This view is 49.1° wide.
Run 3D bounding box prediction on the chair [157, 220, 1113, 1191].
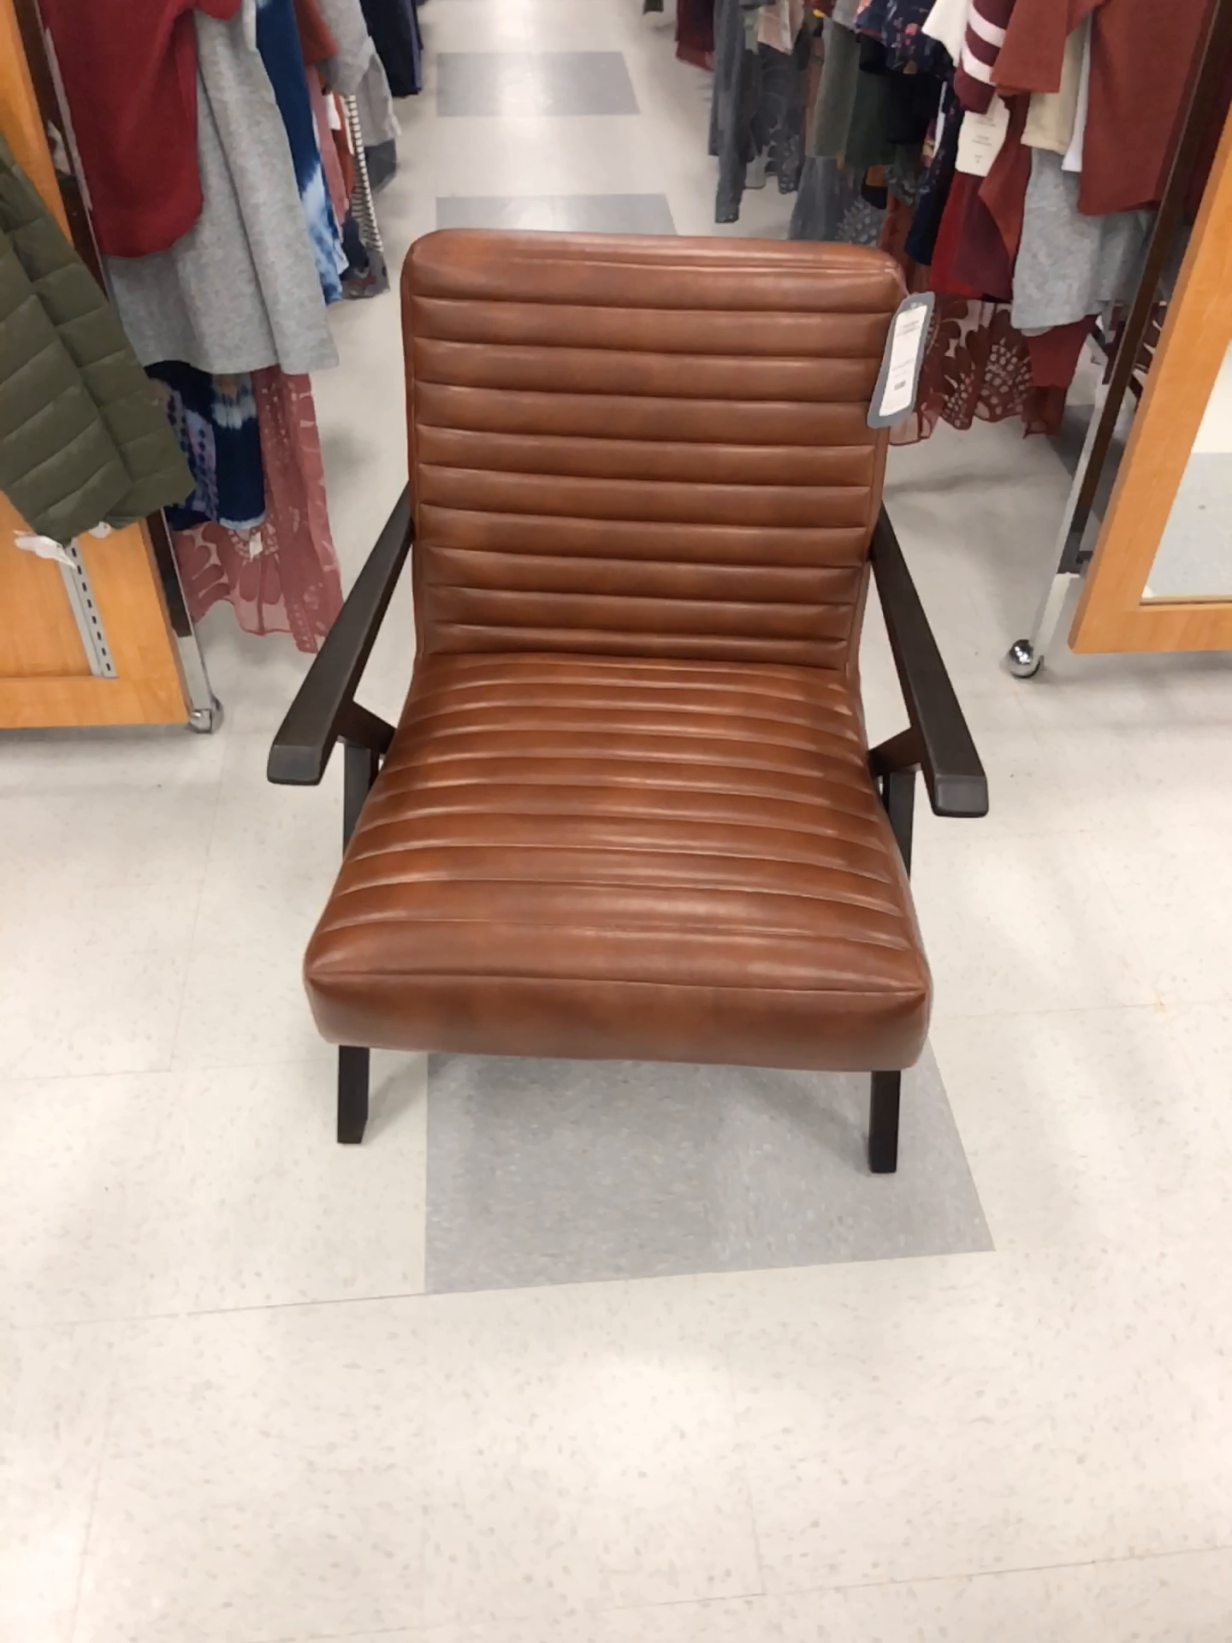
[{"bbox_3d":[0.025,-0.121,1.459,0.675,0.756,0.681,3,45,2],"label":"chair"}]
